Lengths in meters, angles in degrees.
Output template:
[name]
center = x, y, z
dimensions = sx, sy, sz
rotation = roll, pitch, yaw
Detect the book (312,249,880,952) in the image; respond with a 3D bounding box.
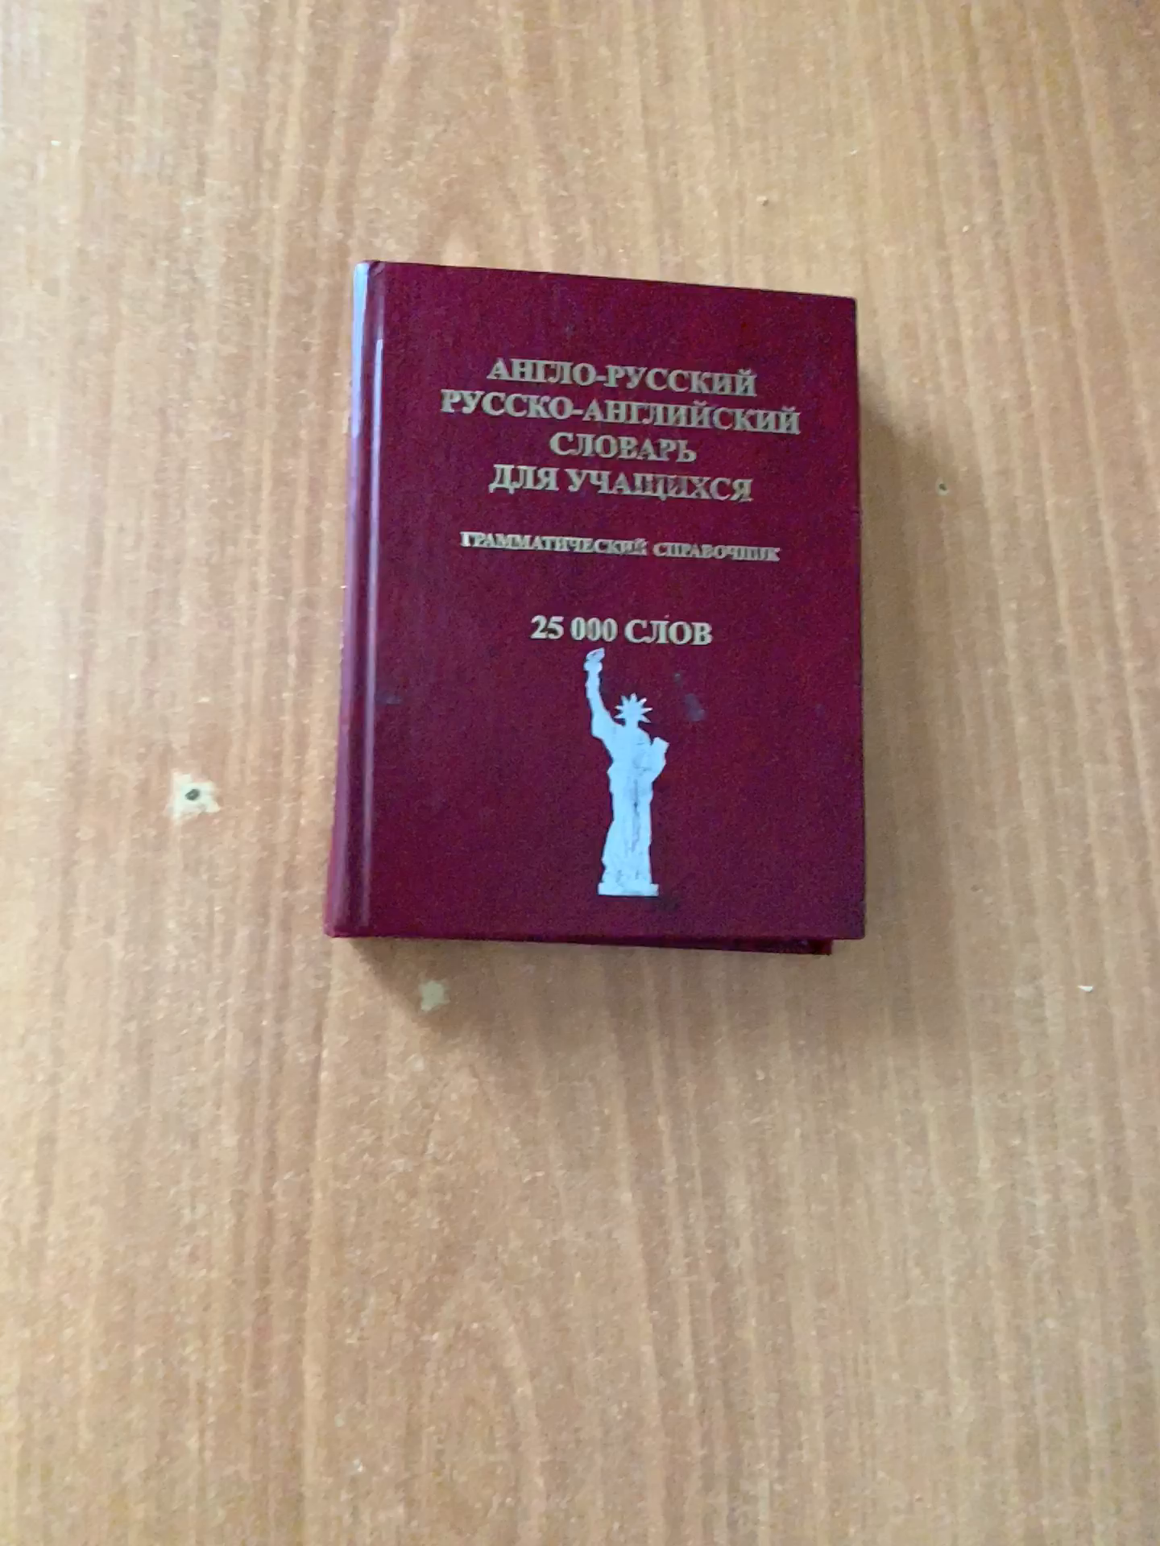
[book]
center = 0.006, -0.041, 0.300
dimensions = 0.134, 0.024, 0.166
rotation = 2, 84, -7
